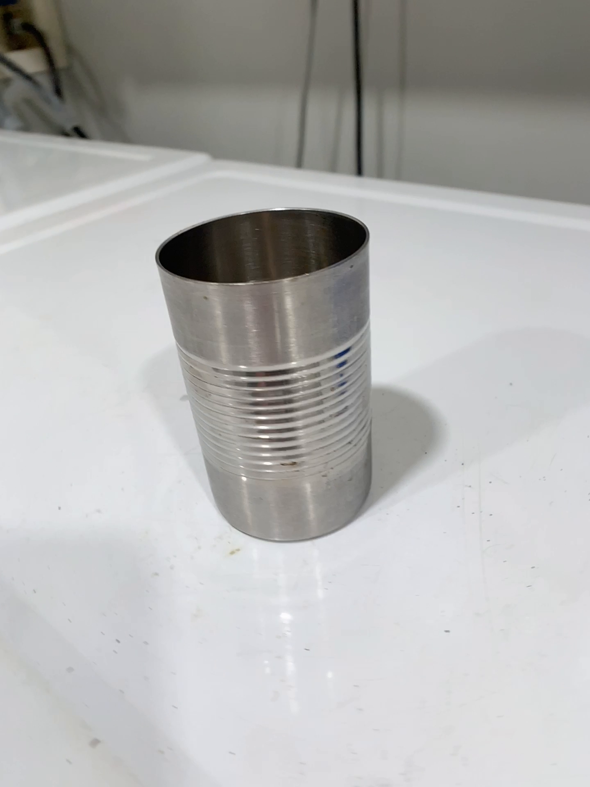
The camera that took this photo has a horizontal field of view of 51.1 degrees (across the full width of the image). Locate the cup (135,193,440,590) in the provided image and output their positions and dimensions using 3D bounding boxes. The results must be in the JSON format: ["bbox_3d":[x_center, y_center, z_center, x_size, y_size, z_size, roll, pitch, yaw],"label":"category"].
[{"bbox_3d":[-0.003,-0.004,0.205,0.070,0.095,0.071,-4,33,2],"label":"cup"}]
